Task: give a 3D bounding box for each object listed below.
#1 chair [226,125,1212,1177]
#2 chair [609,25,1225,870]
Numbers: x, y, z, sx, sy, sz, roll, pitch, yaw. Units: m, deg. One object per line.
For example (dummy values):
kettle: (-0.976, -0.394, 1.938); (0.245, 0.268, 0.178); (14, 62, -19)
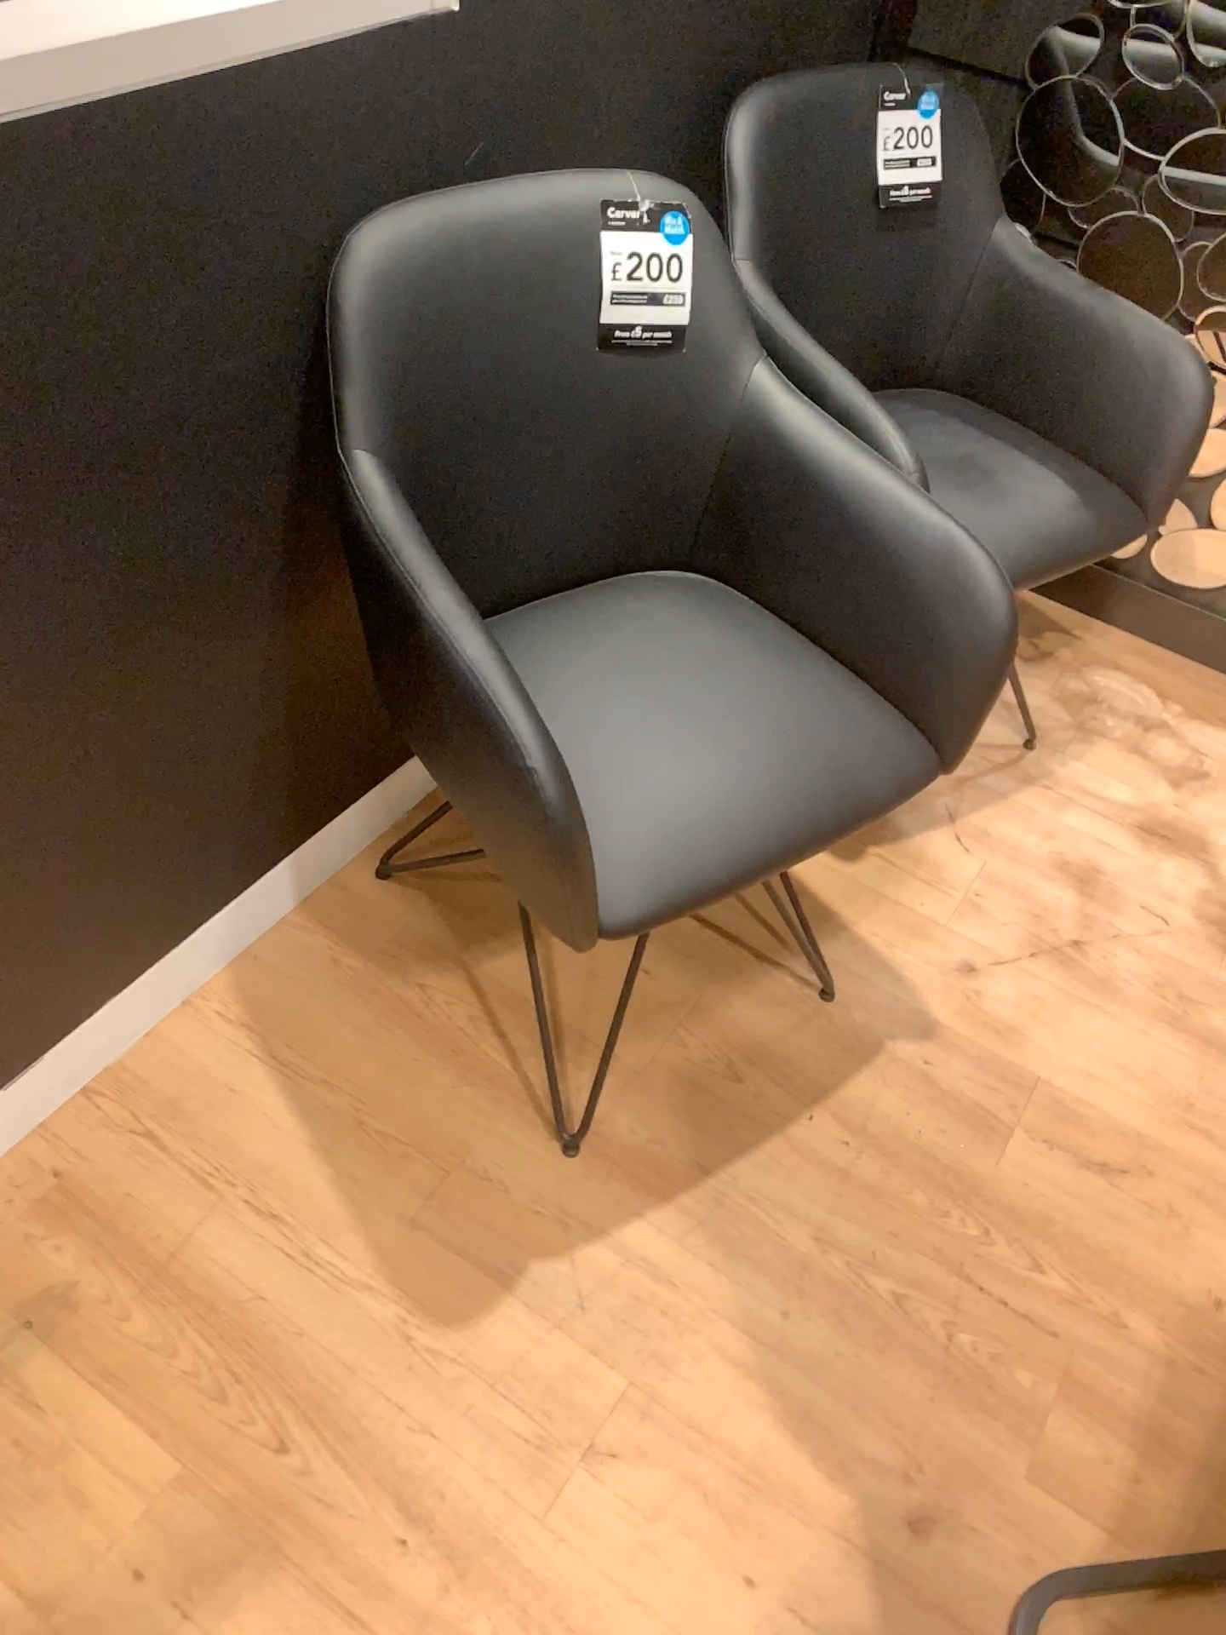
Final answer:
chair: (0.043, -0.185, 1.329); (0.605, 0.776, 0.595); (-23, 54, -27)
chair: (0.437, -0.508, 1.723); (0.565, 0.836, 0.594); (-27, 55, -29)
